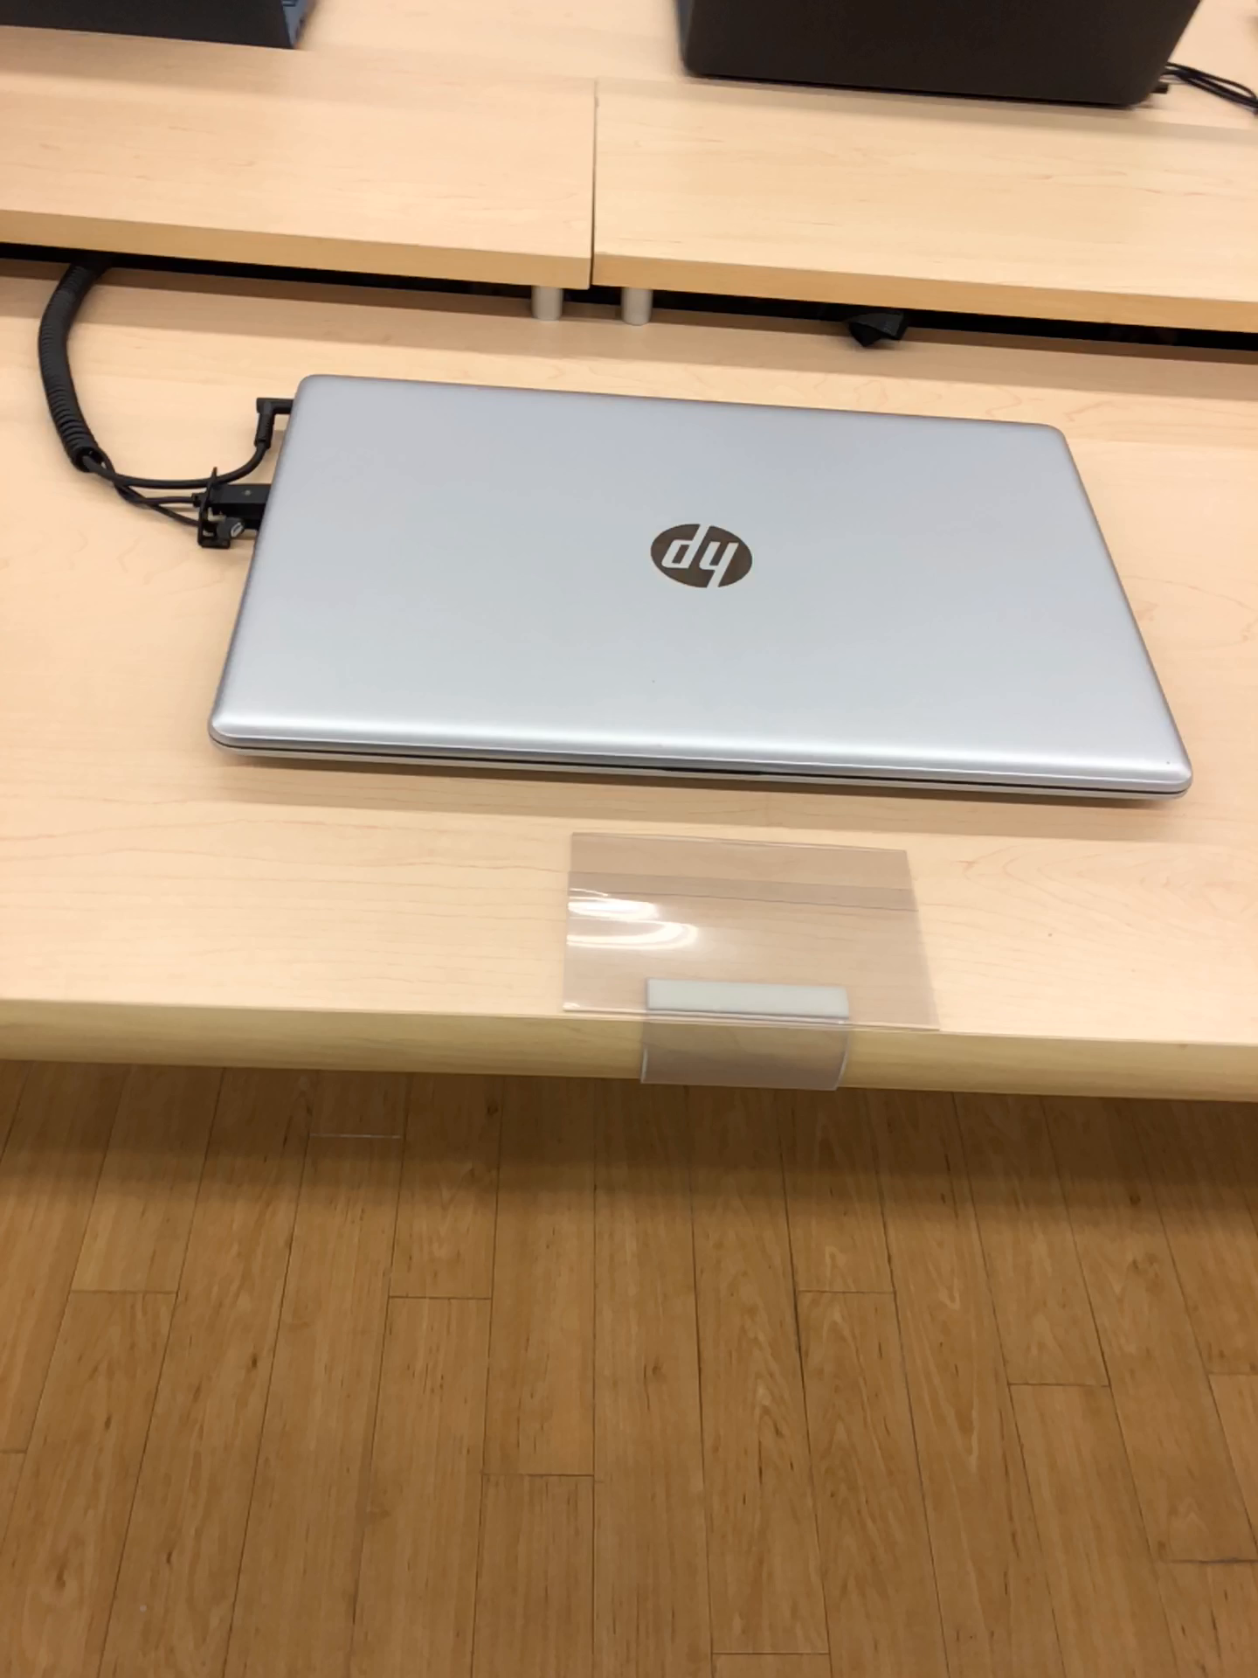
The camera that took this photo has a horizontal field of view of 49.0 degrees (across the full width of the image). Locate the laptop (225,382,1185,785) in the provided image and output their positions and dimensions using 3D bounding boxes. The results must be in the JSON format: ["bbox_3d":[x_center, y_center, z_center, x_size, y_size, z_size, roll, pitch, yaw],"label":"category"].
[{"bbox_3d":[0.034,-0.131,0.651,0.397,0.001,0.258,3,49,-4],"label":"laptop"}]
